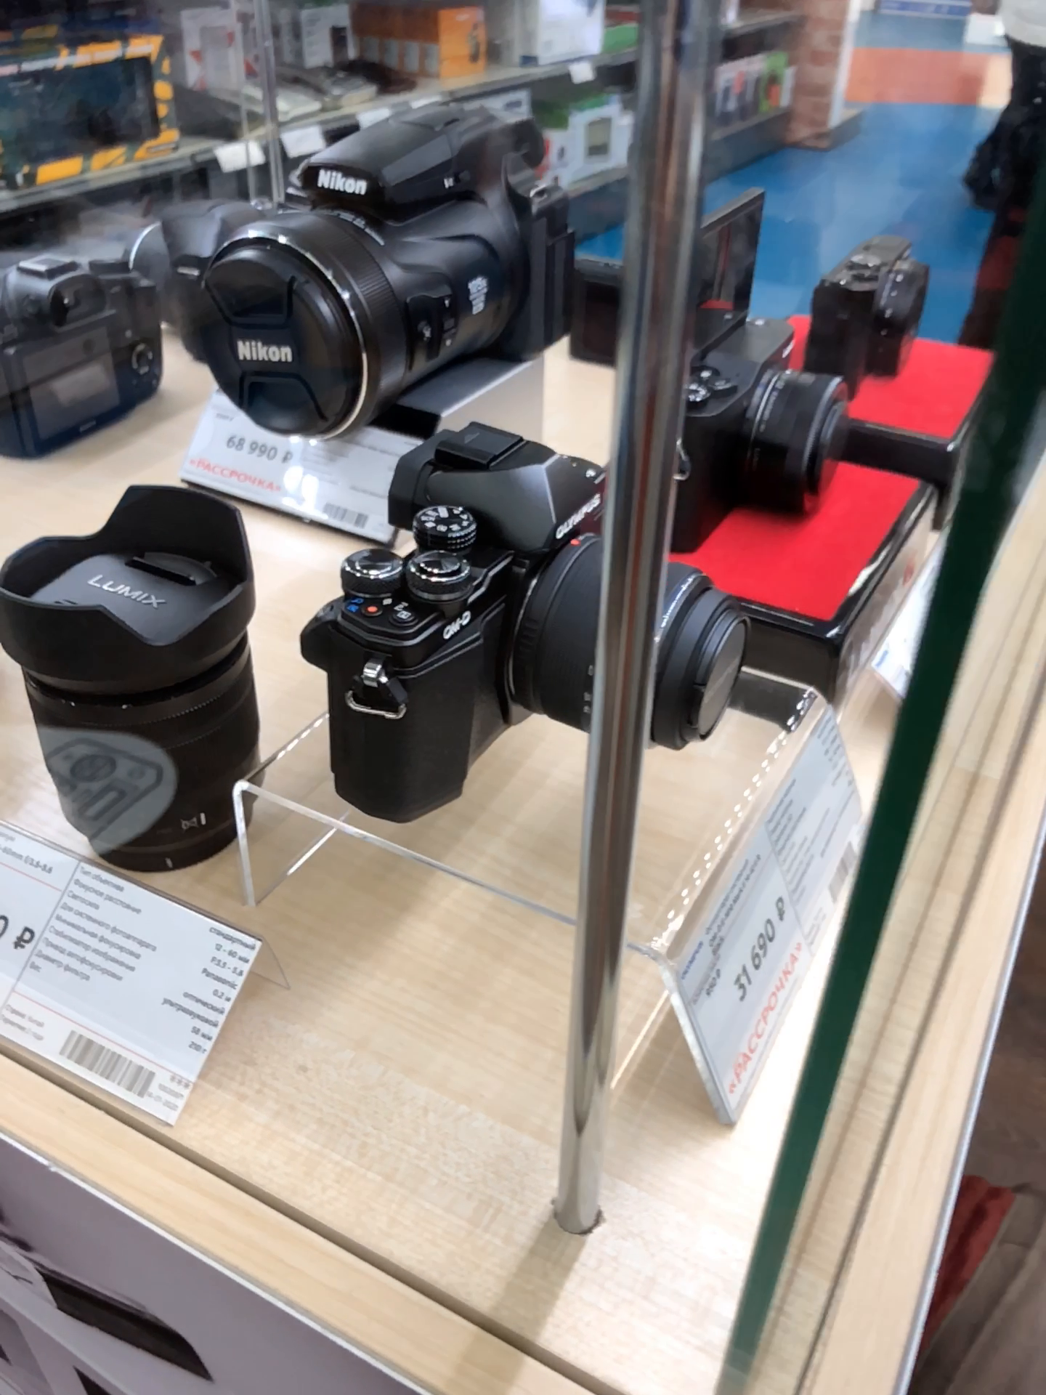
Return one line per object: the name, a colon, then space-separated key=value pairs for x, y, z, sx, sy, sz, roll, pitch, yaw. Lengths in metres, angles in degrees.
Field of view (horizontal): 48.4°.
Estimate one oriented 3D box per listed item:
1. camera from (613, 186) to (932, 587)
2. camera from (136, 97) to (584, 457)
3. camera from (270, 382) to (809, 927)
camera: x=0.097 y=-0.126 z=0.453 sx=0.072 sy=0.109 sz=0.118 roll=19 pitch=38 yaw=22
camera: x=-0.066 y=-0.208 z=0.551 sx=0.104 sy=0.109 sz=0.186 roll=22 pitch=40 yaw=26
camera: x=0.009 y=-0.021 z=0.336 sx=0.101 sy=0.088 sz=0.118 roll=19 pitch=38 yaw=22
